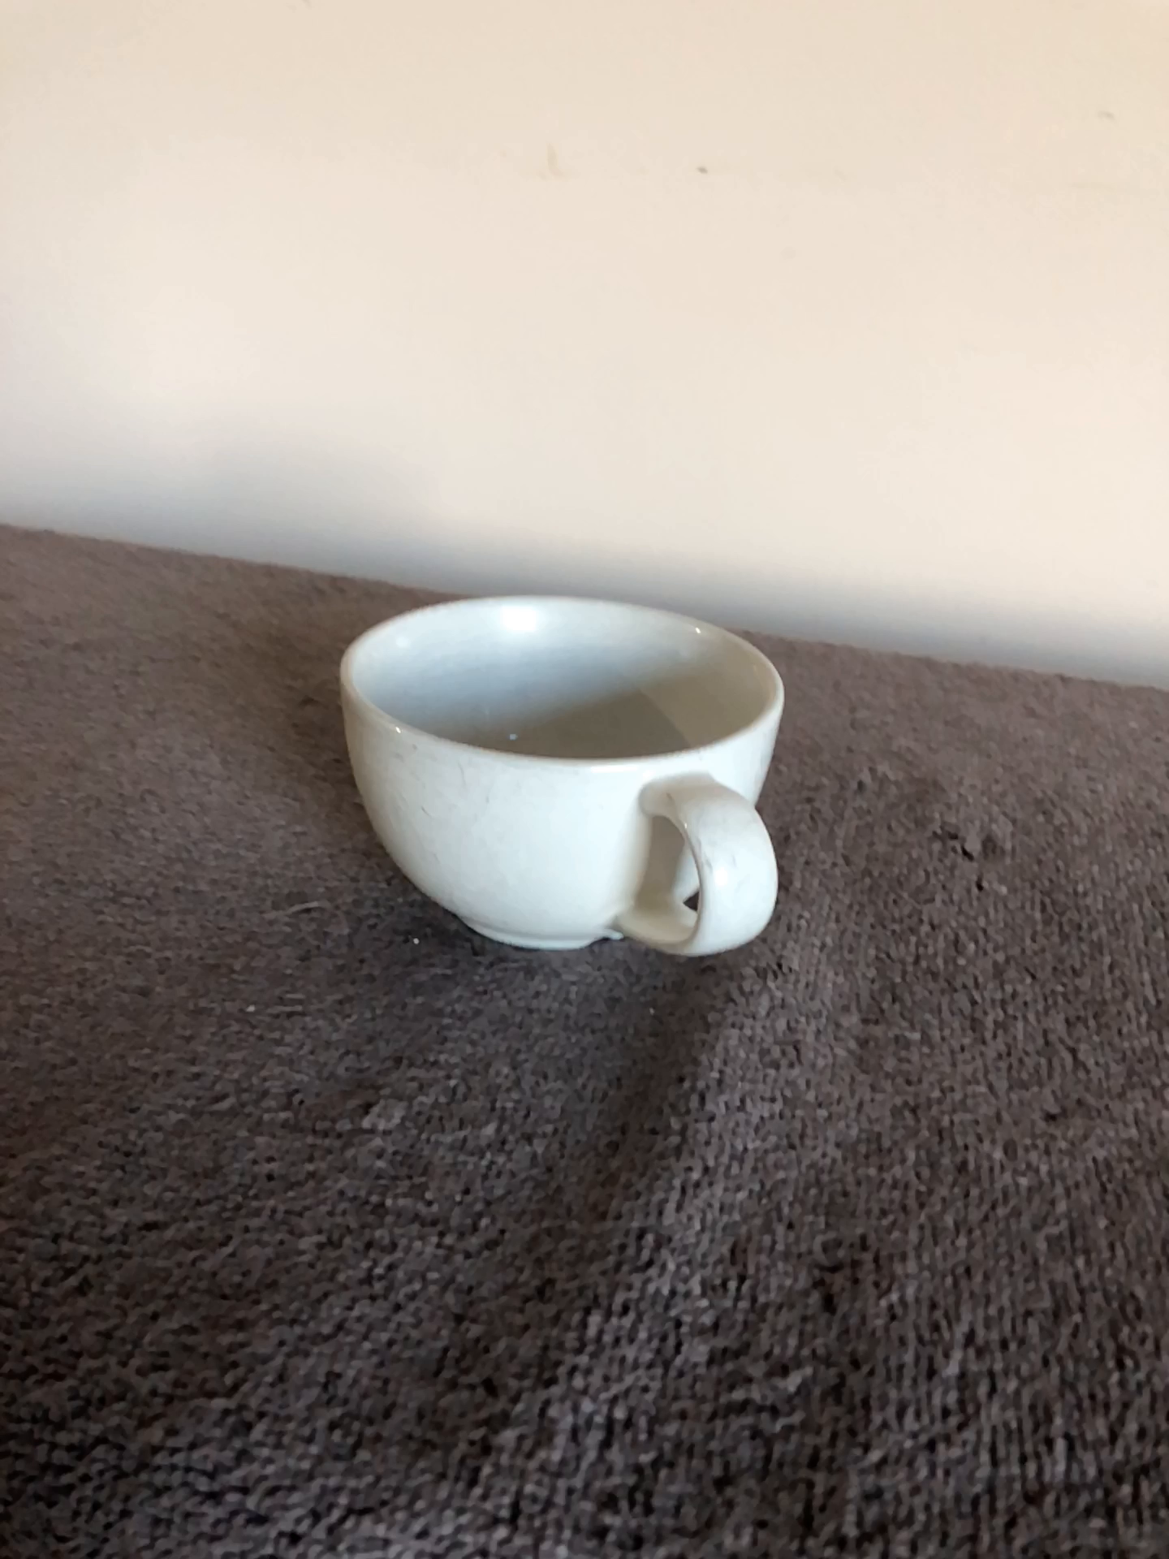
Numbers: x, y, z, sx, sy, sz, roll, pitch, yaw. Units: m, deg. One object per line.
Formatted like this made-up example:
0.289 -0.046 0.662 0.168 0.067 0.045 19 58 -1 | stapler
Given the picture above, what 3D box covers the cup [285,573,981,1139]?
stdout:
0.001 0.004 0.268 0.090 0.050 0.120 -11 29 -26 | cup
